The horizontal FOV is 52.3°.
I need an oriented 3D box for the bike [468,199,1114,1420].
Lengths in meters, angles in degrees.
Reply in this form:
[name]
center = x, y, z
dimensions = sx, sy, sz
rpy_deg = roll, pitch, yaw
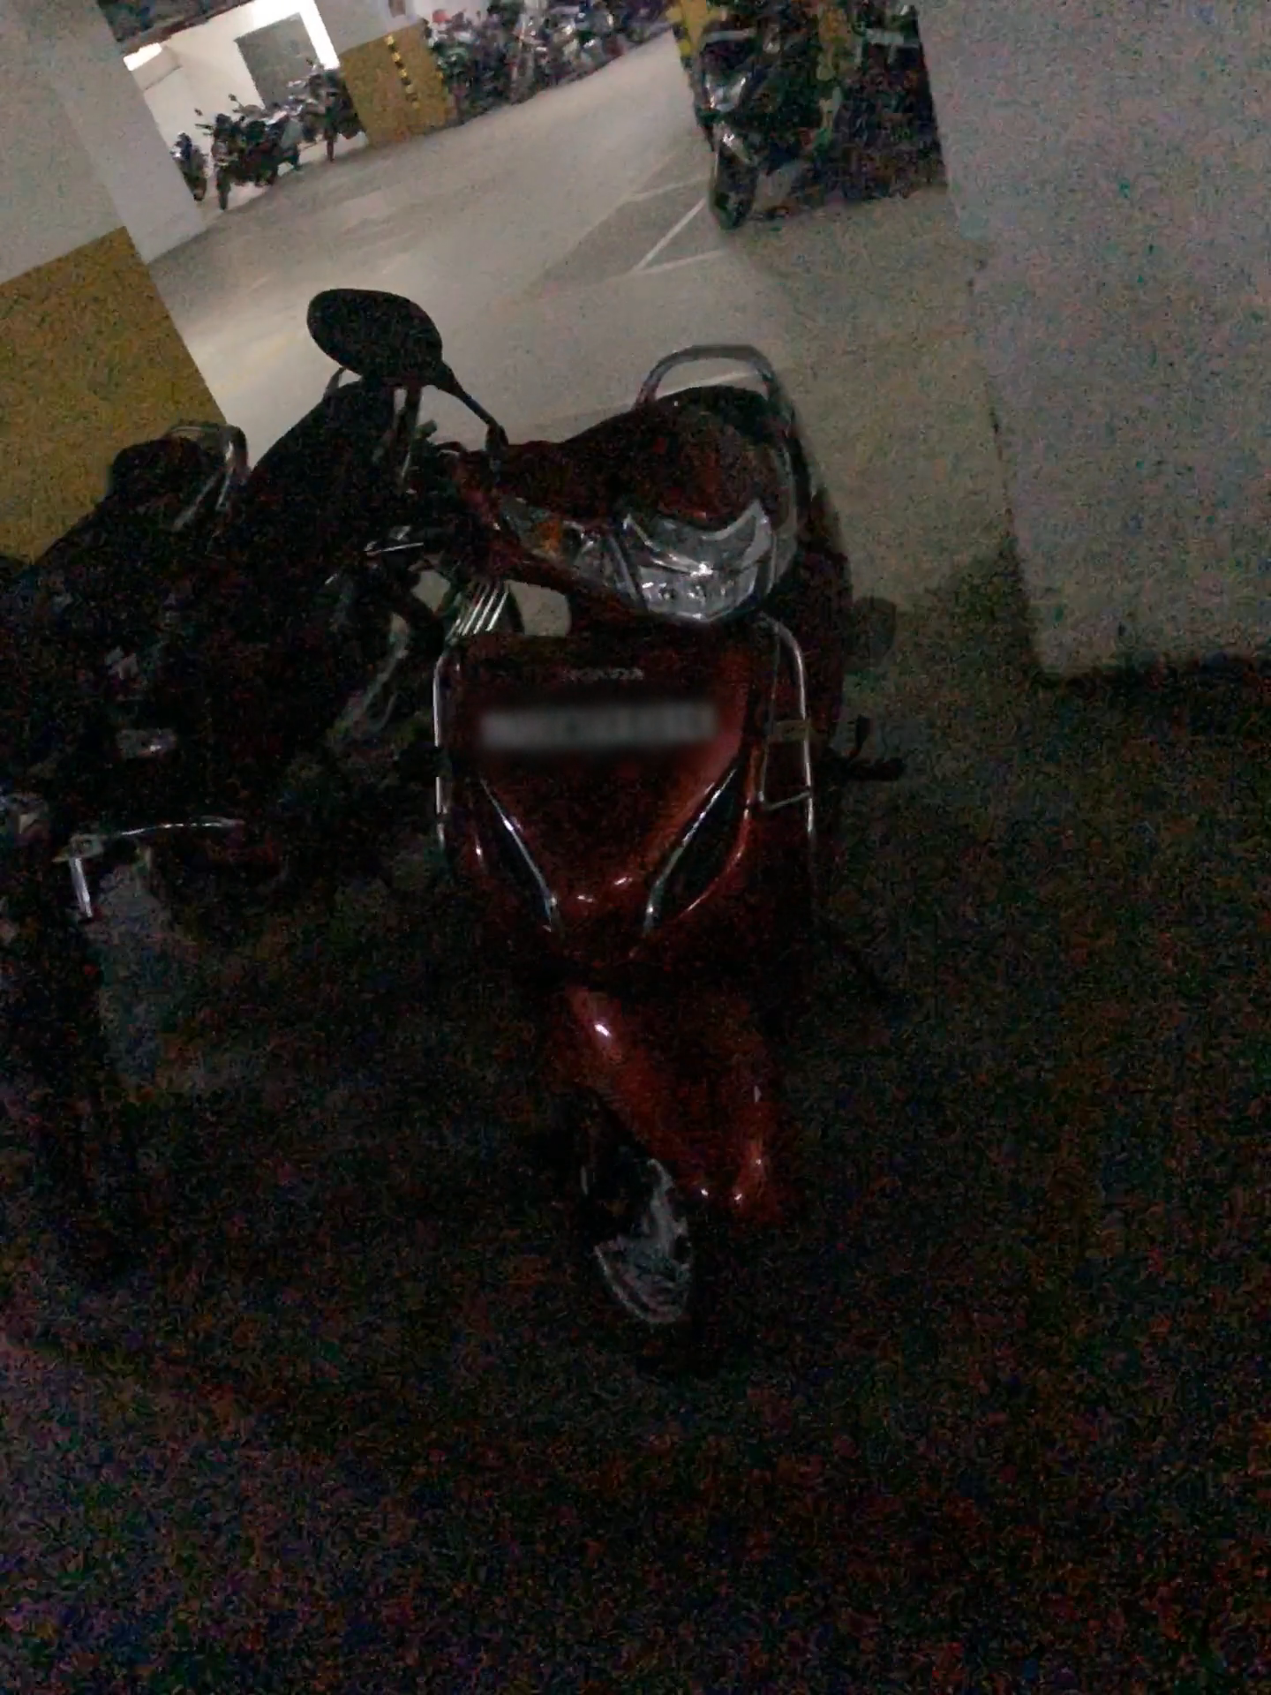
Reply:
[bike]
center = 0.161, -0.137, 1.933
dimensions = 0.487, 0.908, 1.396
rpy_deg = -16, 42, 10
